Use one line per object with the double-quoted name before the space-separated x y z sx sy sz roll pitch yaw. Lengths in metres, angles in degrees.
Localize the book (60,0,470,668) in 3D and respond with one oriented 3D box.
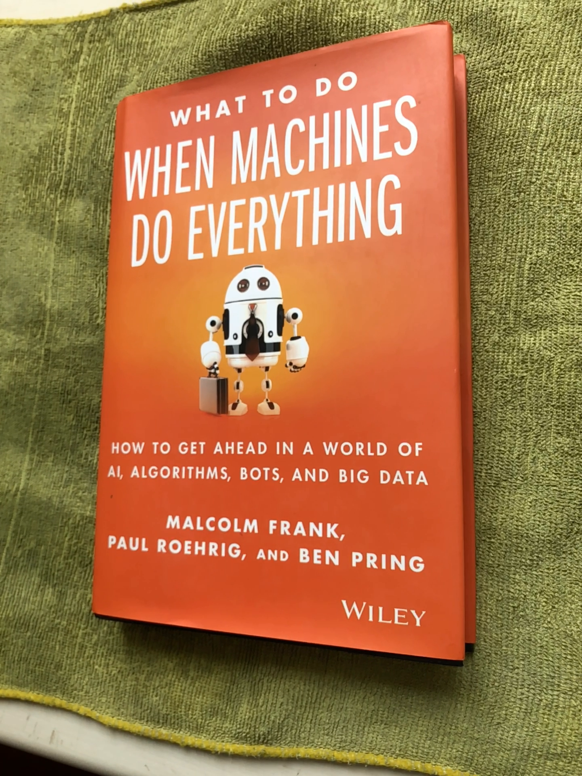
"book" -0.012 -0.024 0.273 0.160 0.040 0.240 -2 83 21
